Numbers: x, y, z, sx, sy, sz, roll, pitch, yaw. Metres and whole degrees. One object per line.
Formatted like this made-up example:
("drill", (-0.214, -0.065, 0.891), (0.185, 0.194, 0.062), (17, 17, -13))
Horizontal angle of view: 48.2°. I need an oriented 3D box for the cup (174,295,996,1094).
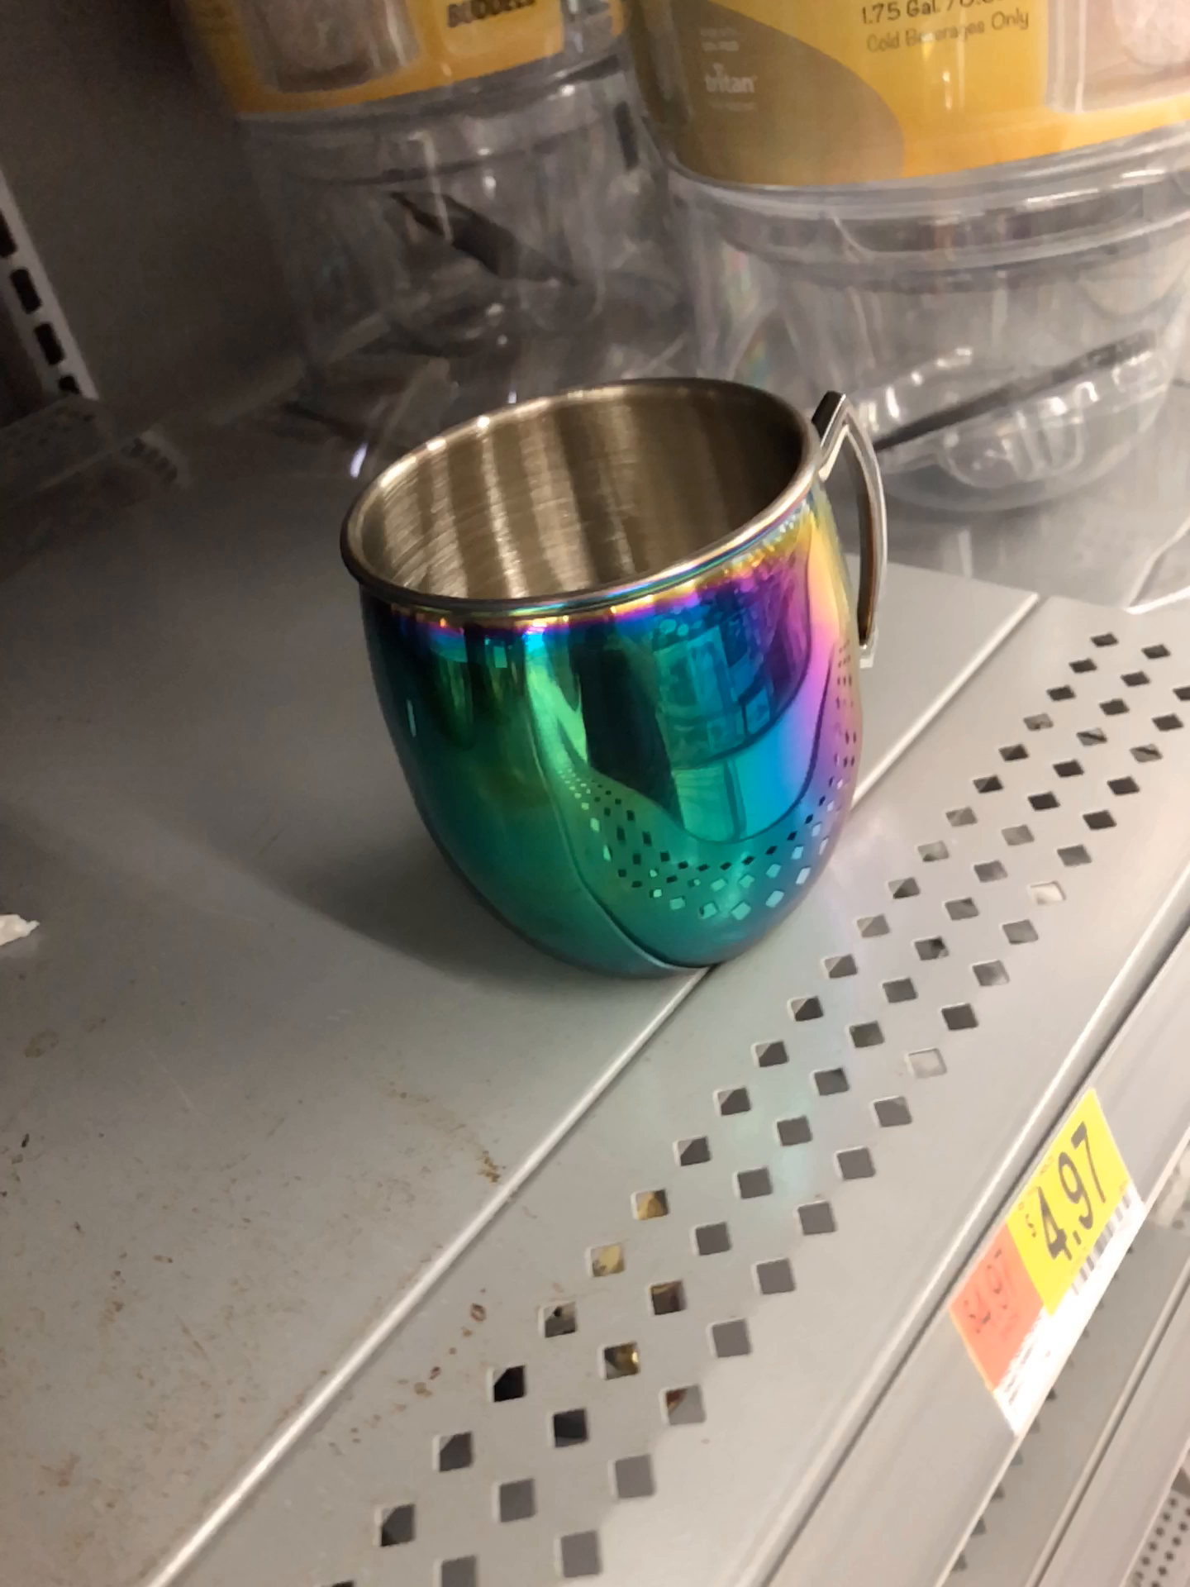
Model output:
("cup", (0.008, -0.032, 0.293), (0.104, 0.097, 0.133), (22, 49, 35))
